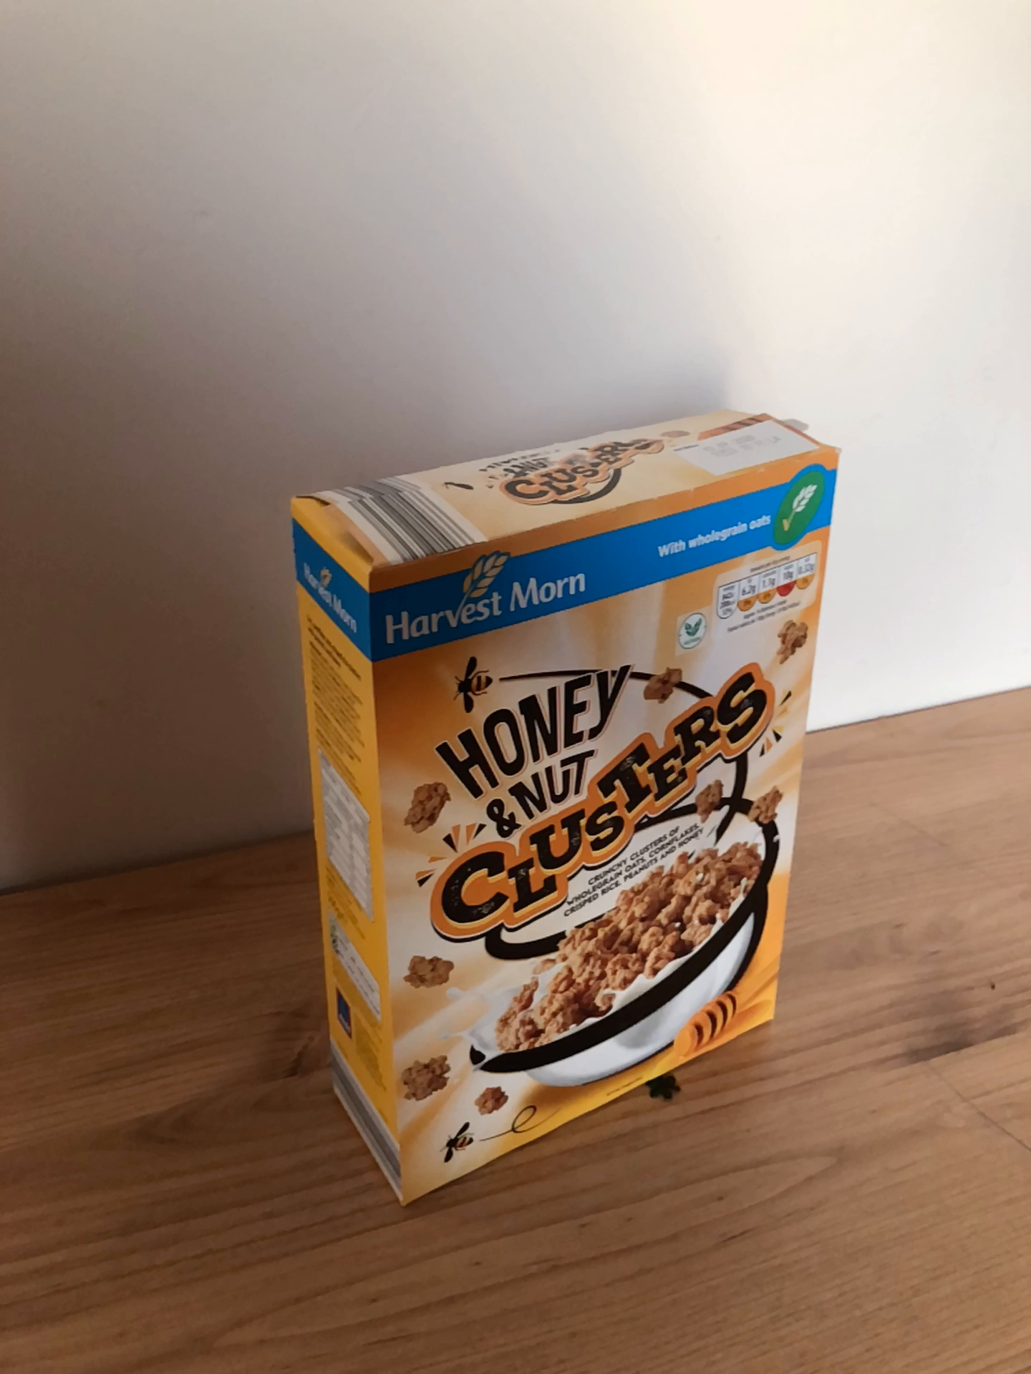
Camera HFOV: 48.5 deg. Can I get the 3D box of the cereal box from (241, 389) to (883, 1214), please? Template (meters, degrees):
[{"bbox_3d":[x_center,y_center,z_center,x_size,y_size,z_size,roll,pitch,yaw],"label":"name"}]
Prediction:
[{"bbox_3d":[0.019,0.038,0.412,0.190,0.248,0.070,-17,34,-27],"label":"cereal box"}]
